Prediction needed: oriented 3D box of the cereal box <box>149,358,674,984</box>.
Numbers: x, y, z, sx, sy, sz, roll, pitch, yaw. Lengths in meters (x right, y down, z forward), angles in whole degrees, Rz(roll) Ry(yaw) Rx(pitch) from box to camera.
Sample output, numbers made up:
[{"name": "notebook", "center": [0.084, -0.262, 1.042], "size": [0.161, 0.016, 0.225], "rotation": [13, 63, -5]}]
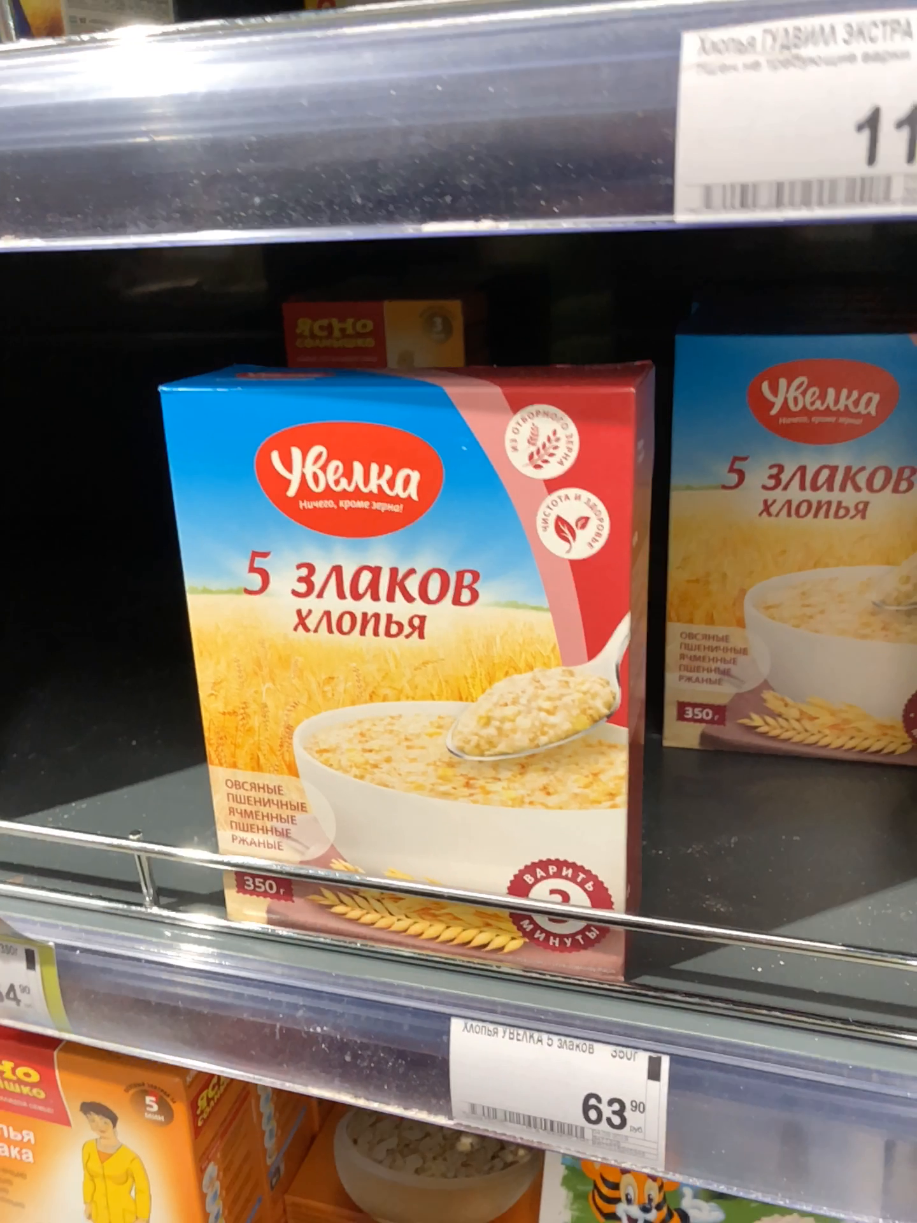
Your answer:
[{"name": "cereal box", "center": [-0.011, 0.016, 0.336], "size": [0.150, 0.189, 0.050], "rotation": [4, 19, 15]}]
